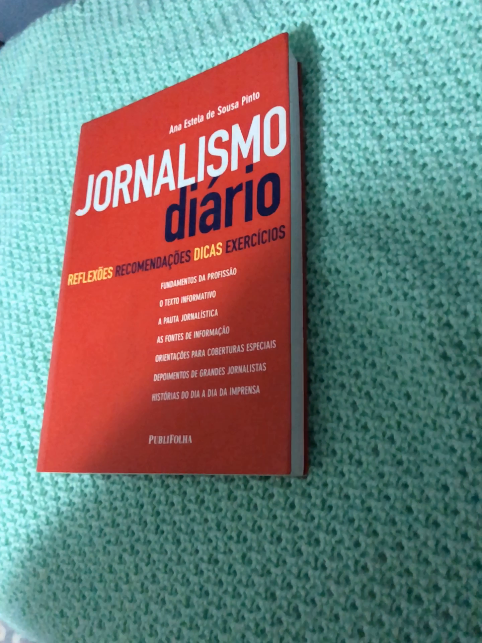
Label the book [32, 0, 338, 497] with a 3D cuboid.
[{"bbox_3d":[-0.033,-0.040,0.287,0.161,0.030,0.250,-10,70,33],"label":"book"}]
